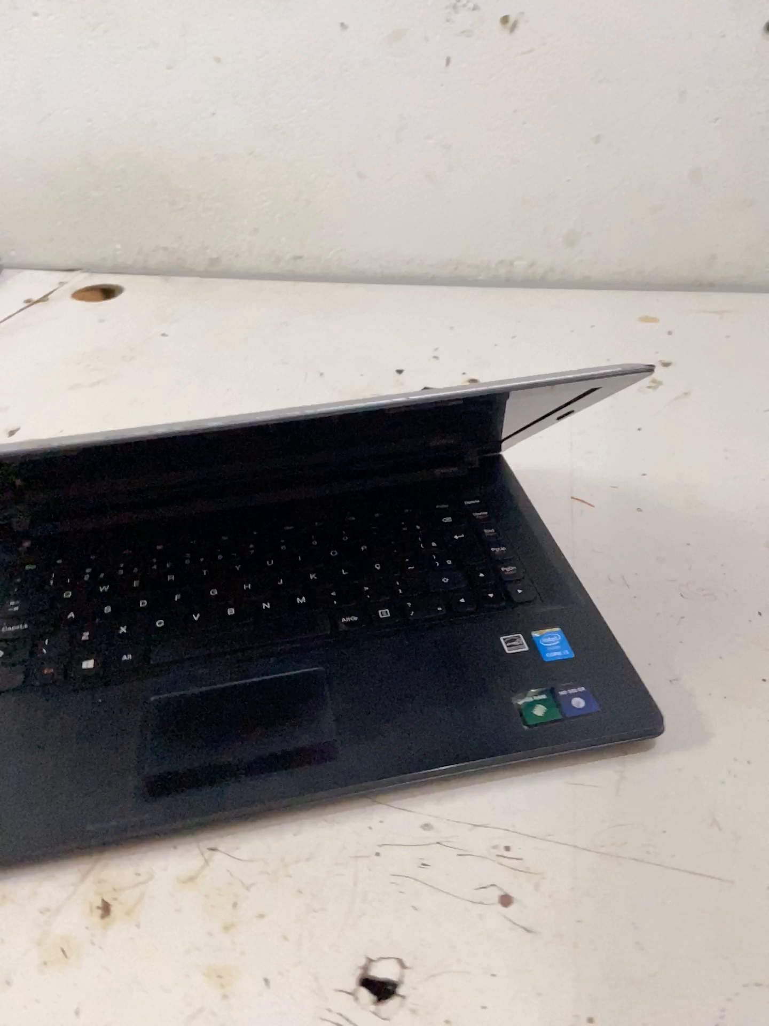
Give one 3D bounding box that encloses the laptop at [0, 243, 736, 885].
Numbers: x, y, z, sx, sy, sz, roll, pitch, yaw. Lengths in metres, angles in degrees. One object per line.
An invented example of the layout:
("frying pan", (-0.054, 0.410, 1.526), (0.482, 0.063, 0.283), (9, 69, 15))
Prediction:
("laptop", (-0.066, -0.007, 0.397), (0.344, 0.148, 0.246), (-9, 35, -8))
